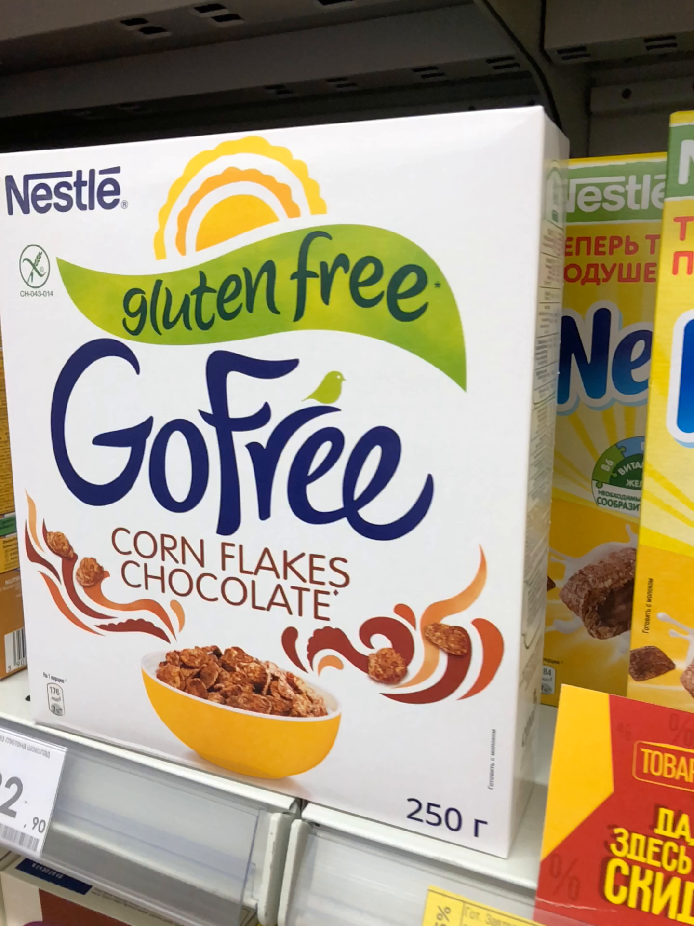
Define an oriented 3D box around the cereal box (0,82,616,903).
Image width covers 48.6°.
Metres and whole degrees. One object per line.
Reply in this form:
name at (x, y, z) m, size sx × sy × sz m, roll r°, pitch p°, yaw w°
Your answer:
cereal box at (-0.024, 0.004, 0.265) m, size 0.200 × 0.219 × 0.050 m, roll 6°, pitch 11°, yaw 25°
